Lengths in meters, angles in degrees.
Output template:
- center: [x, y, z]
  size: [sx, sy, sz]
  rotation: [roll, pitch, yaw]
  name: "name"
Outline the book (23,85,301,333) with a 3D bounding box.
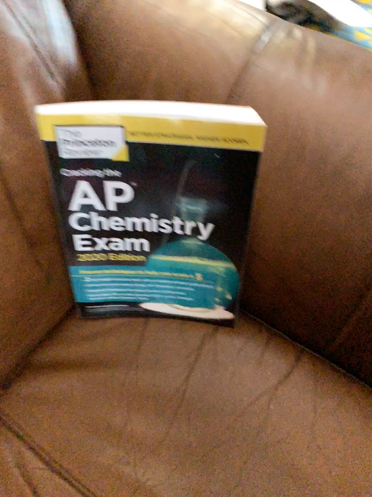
- center: [-0.028, -0.016, 0.452]
  size: [0.240, 0.319, 0.040]
  rotation: [4, 43, 0]
  name: "book"
